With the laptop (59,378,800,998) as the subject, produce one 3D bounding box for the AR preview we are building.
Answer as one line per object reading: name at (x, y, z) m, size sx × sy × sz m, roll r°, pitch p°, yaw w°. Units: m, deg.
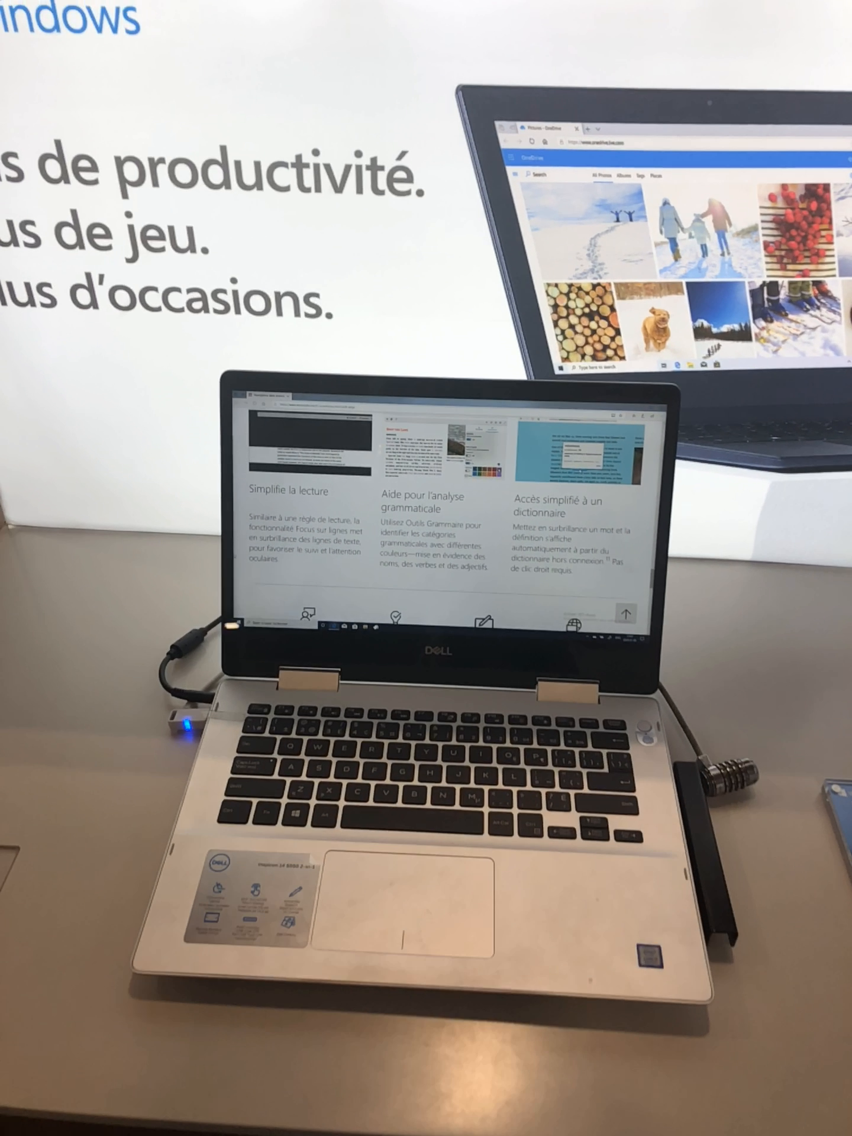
laptop at (0.007, 0.050, 0.591) m, size 0.316 × 0.193 × 0.338 m, roll 2°, pitch 39°, yaw 3°
